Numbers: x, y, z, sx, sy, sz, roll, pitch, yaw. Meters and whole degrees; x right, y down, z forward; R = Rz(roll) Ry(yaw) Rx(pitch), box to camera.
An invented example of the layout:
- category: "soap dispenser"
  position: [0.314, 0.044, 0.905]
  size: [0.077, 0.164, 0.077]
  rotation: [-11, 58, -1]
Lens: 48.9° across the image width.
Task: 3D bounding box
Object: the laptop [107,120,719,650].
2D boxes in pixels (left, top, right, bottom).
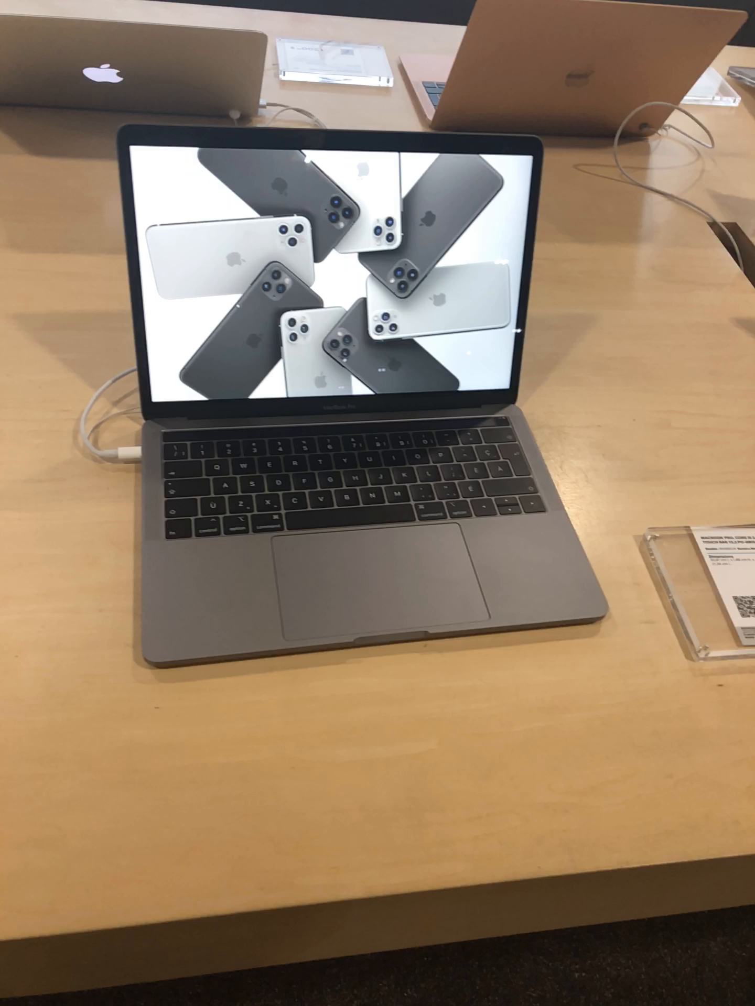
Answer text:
- category: "laptop"
  position: [-0.013, -0.090, 0.549]
  size: [0.296, 0.181, 0.296]
  rotation: [-4, 48, -13]
